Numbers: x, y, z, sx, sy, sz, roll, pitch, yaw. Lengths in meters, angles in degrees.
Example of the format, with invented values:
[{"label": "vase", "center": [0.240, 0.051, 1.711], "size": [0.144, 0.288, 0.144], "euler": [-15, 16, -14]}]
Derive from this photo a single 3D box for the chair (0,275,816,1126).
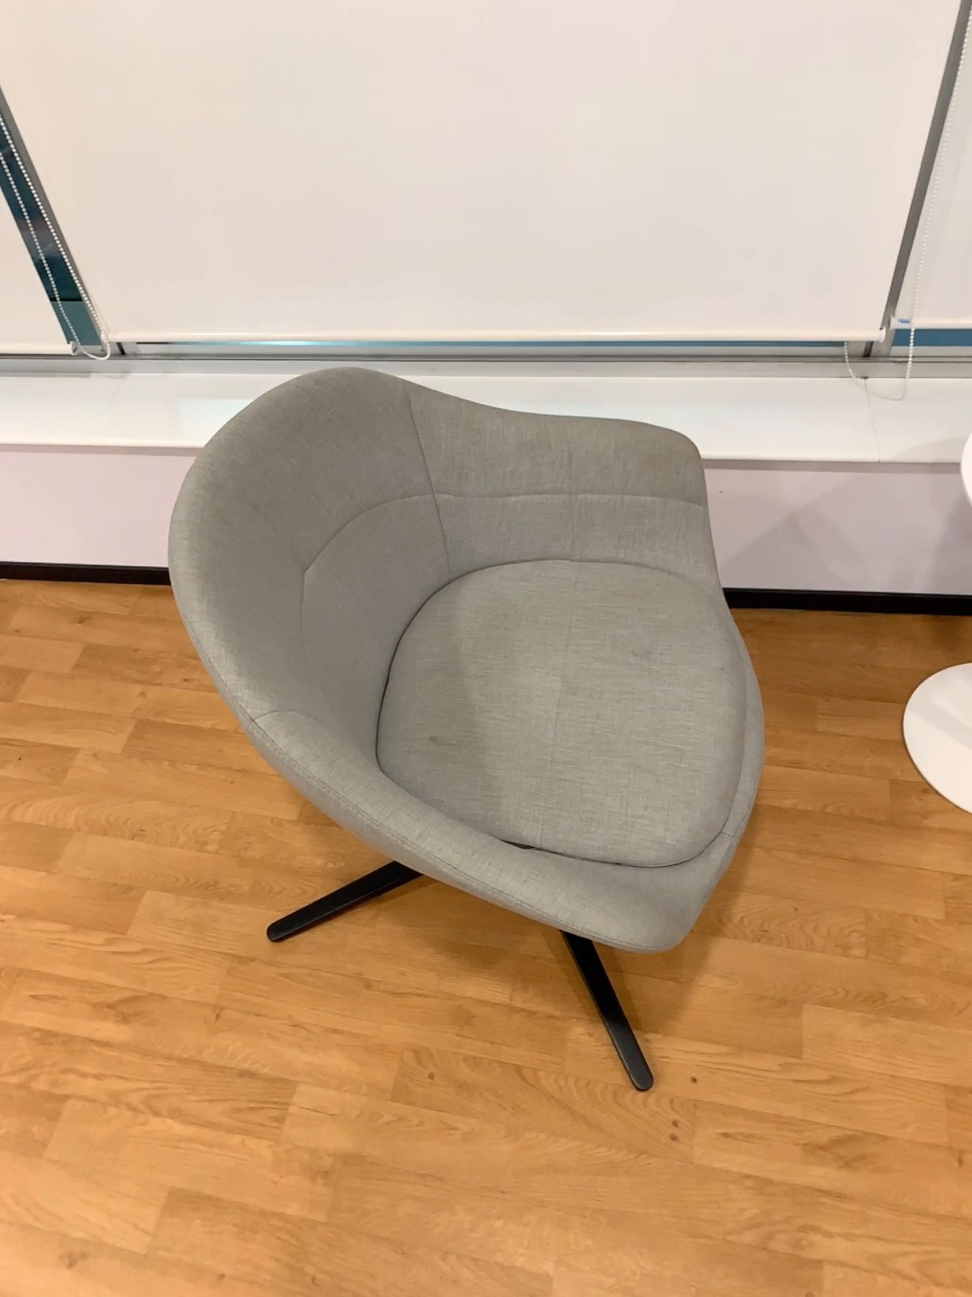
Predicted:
[{"label": "chair", "center": [-0.006, 0.069, 1.253], "size": [0.680, 0.754, 0.675], "euler": [7, 51, 12]}]
